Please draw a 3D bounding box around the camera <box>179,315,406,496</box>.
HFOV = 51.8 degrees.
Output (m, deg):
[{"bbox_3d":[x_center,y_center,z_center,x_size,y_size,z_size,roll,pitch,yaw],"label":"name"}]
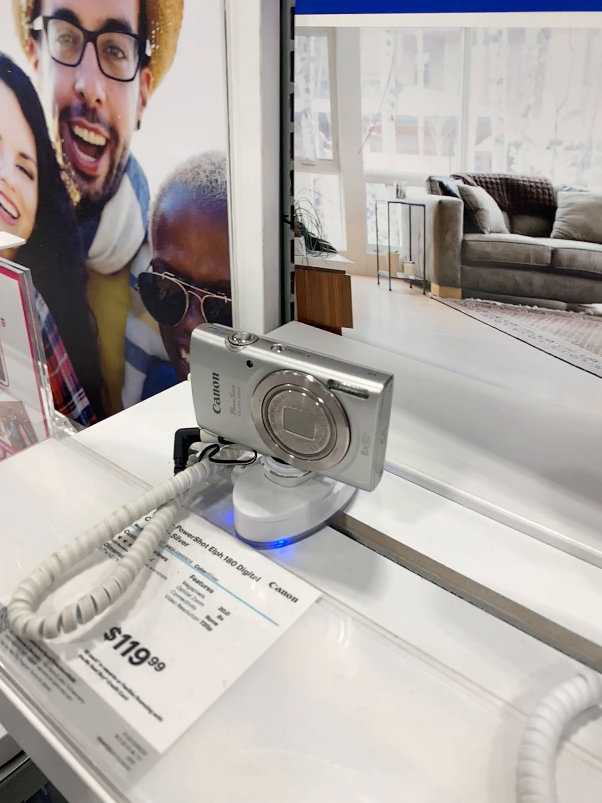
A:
[{"bbox_3d":[-0.005,0.000,0.275,0.098,0.051,0.022,18,40,26],"label":"camera"}]
